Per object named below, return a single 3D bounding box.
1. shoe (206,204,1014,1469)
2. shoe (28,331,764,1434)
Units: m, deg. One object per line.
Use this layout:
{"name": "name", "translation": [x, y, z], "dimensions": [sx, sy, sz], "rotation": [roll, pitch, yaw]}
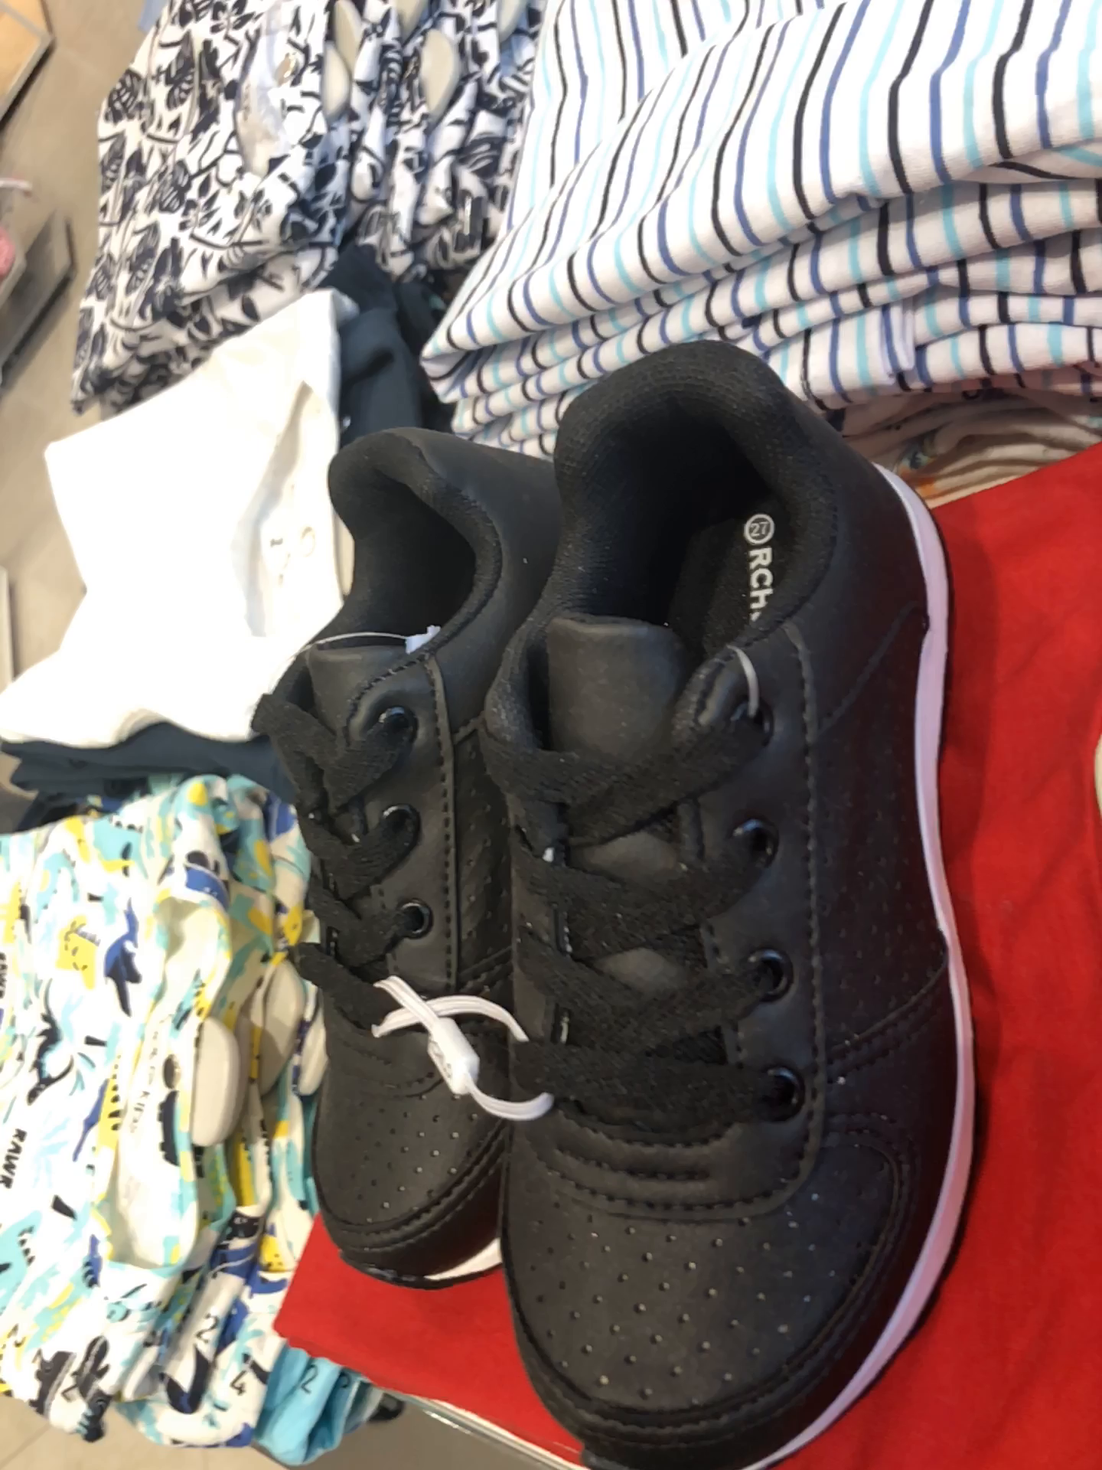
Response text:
{"name": "shoe", "translation": [0.024, 0.025, 0.212], "dimensions": [0.080, 0.086, 0.190], "rotation": [-2, 68, 33]}
{"name": "shoe", "translation": [-0.024, 0.025, 0.252], "dimensions": [0.080, 0.080, 0.180], "rotation": [2, 74, 38]}
